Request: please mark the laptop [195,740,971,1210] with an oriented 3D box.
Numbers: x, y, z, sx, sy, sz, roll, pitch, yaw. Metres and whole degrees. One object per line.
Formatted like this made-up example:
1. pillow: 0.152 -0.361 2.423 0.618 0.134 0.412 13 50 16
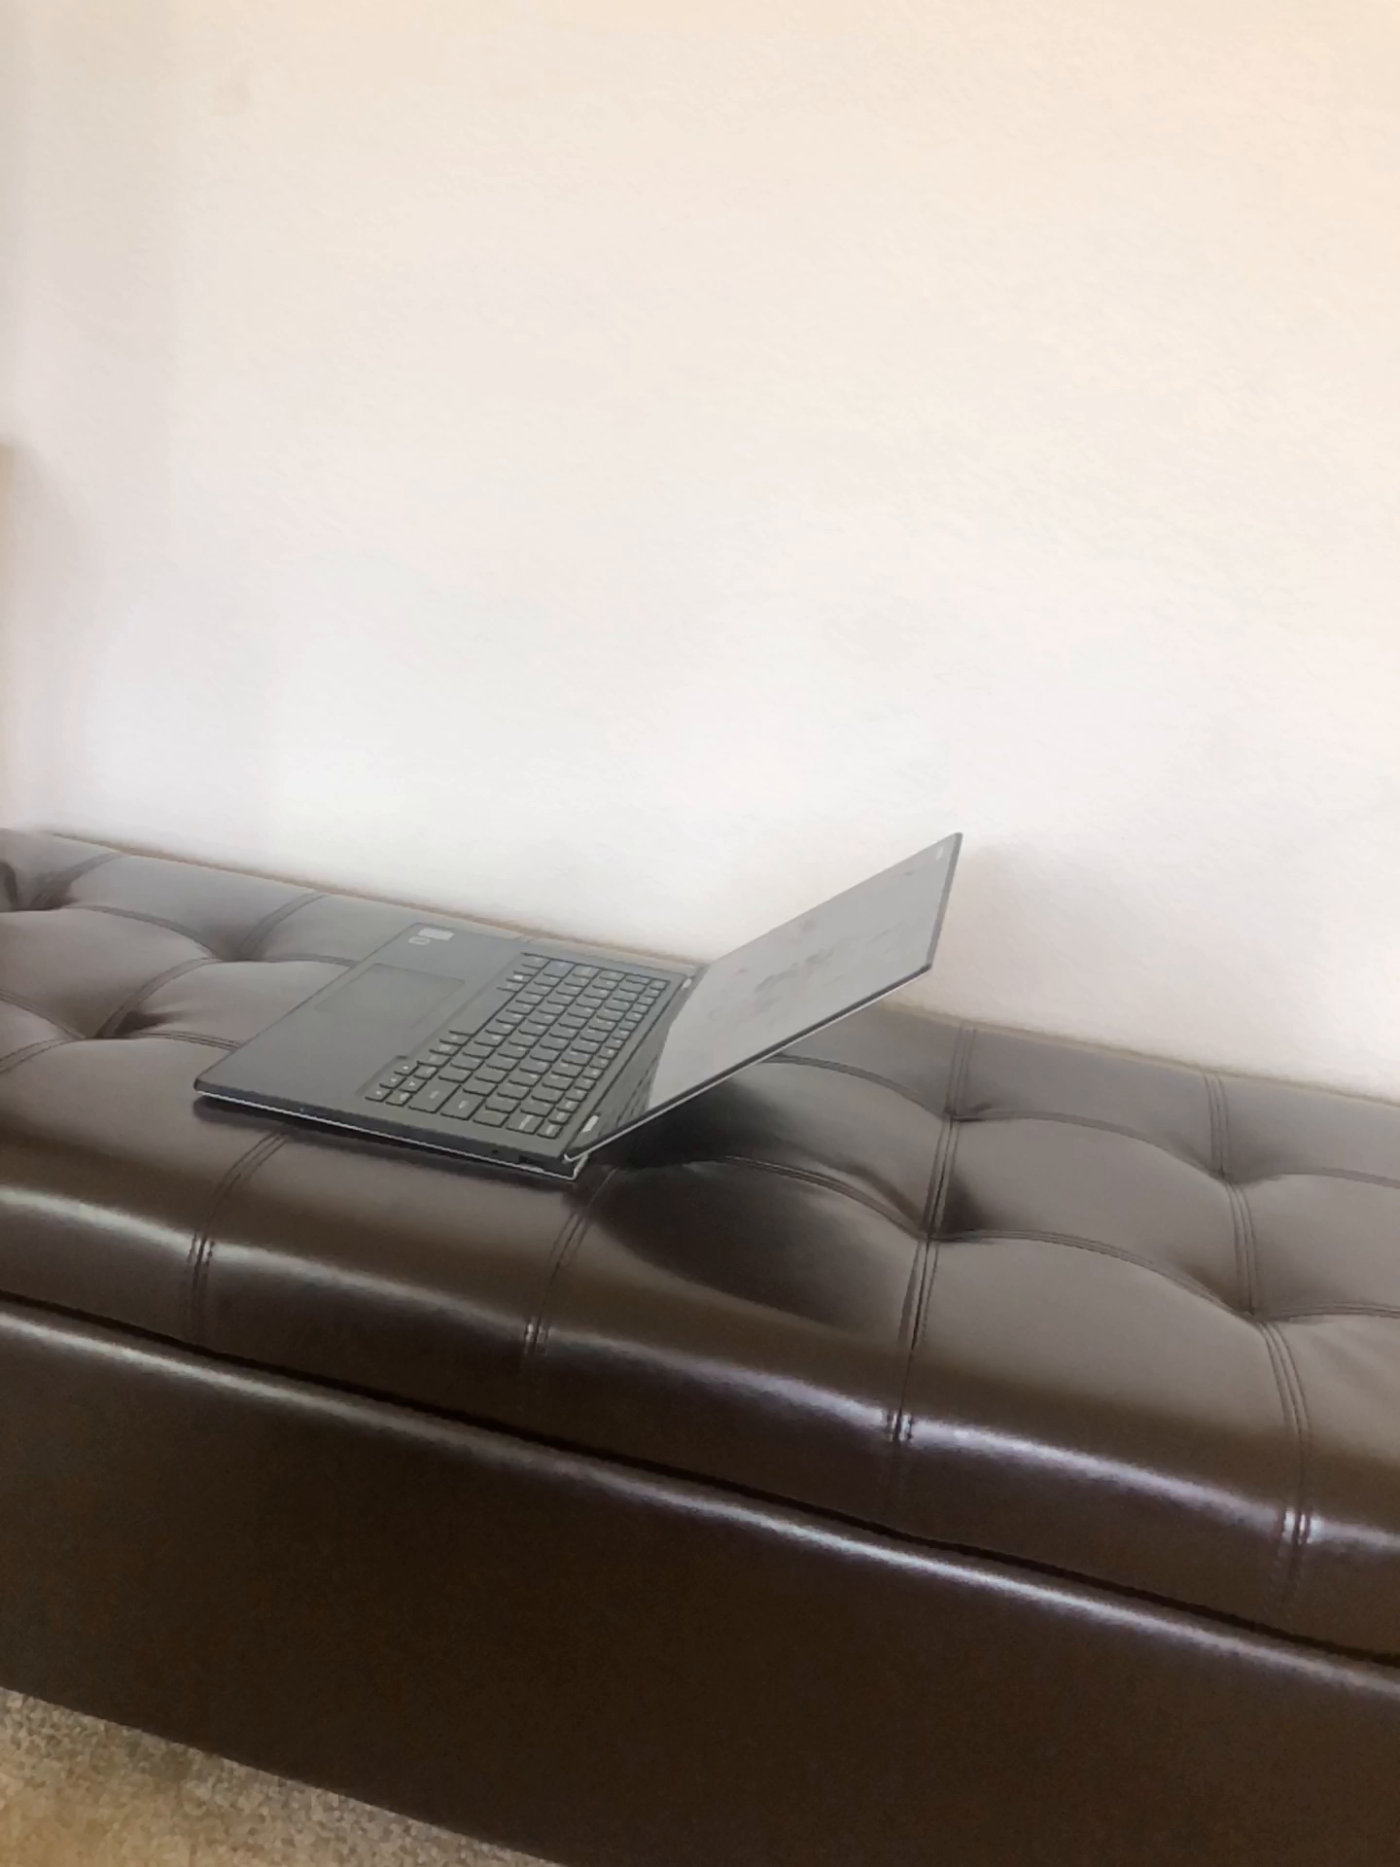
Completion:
1. laptop: -0.039 0.001 0.776 0.317 0.115 0.262 10 17 10
